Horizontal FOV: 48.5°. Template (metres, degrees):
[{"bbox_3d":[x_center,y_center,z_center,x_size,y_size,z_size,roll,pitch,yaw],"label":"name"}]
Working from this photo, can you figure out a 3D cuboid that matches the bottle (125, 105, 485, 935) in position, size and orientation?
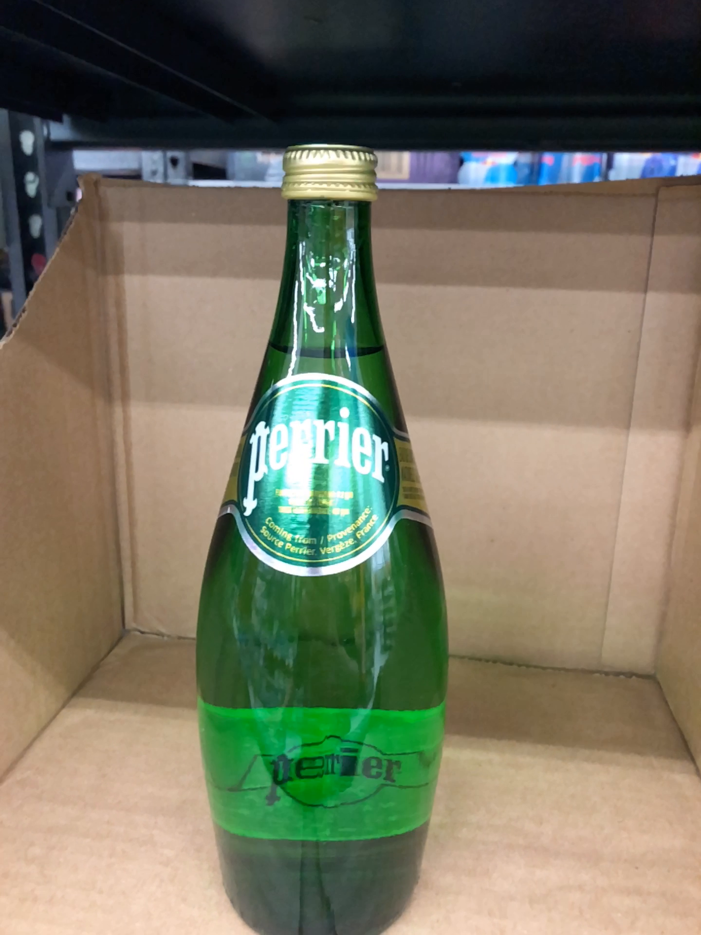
[{"bbox_3d":[-0.009,0.029,0.267,0.090,0.269,0.080,3,16,8],"label":"bottle"}]

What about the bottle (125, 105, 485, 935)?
[{"bbox_3d":[-0.009,0.029,0.267,0.090,0.269,0.080,3,16,8],"label":"bottle"}]
